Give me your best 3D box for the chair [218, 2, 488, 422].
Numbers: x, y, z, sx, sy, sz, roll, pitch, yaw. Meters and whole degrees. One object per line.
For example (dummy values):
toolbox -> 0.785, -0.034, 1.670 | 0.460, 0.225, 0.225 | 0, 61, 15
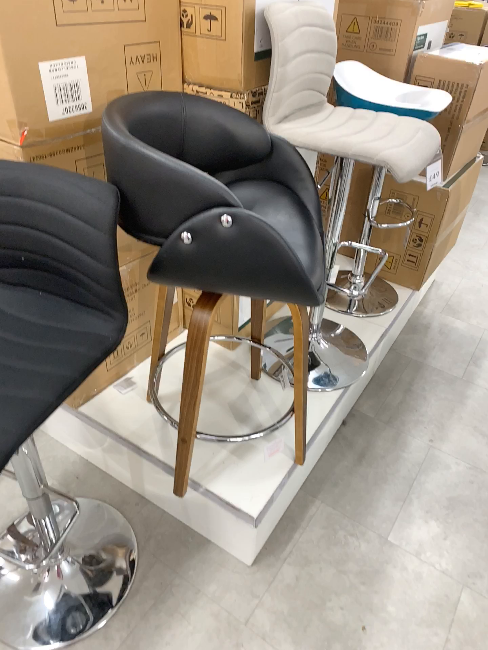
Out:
chair -> 0.250, -0.301, 1.376 | 0.438, 0.967, 0.437 | 22, 37, 23

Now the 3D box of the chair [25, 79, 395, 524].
chair -> -0.055, -0.035, 1.229 | 0.546, 0.897, 0.570 | 5, 39, 1

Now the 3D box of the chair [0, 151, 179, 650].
chair -> -0.506, 0.237, 1.058 | 0.485, 1.016, 0.470 | 15, 37, 21
